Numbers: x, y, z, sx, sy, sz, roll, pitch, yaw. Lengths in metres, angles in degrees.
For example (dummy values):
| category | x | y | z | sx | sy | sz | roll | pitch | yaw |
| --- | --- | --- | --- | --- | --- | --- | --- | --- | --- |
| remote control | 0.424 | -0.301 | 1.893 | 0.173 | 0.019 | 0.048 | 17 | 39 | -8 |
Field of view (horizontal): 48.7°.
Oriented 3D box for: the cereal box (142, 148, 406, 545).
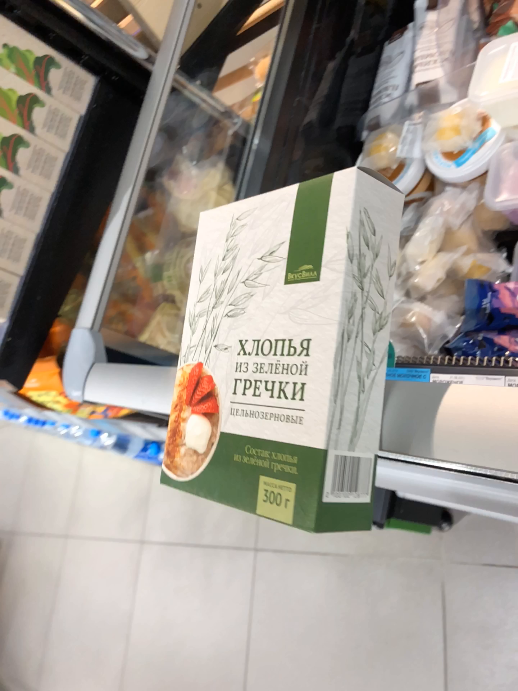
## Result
| category | x | y | z | sx | sy | sz | roll | pitch | yaw |
| --- | --- | --- | --- | --- | --- | --- | --- | --- | --- |
| cereal box | 0.003 | 0.000 | 0.357 | 0.151 | 0.050 | 0.200 | 0 | 81 | 47 |
